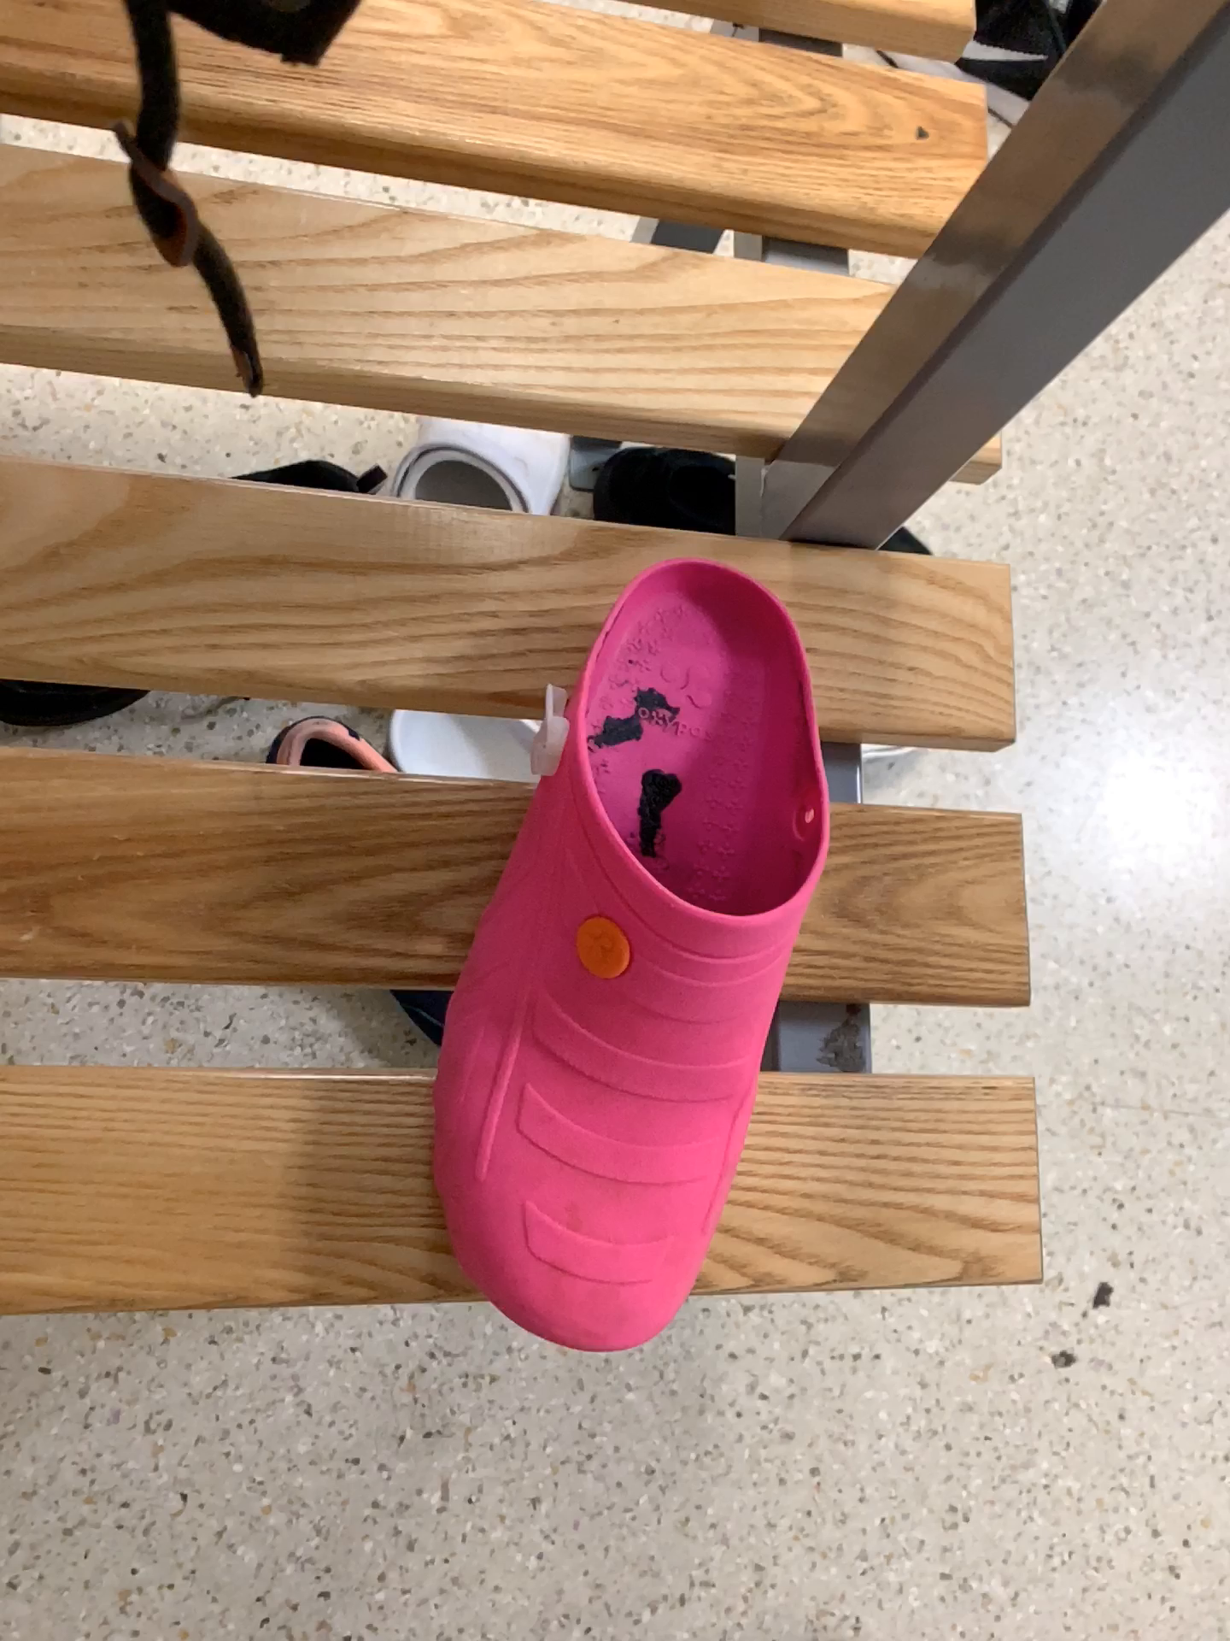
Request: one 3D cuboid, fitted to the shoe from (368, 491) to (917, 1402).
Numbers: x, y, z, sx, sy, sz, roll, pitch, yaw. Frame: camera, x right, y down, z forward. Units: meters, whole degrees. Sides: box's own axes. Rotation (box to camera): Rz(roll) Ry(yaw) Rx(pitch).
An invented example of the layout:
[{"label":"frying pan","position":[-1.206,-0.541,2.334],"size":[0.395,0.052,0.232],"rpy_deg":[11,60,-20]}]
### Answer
[{"label":"shoe","position":[0.008,0.032,0.361],"size":[0.096,0.068,0.221],"rpy_deg":[16,76,-8]}]
